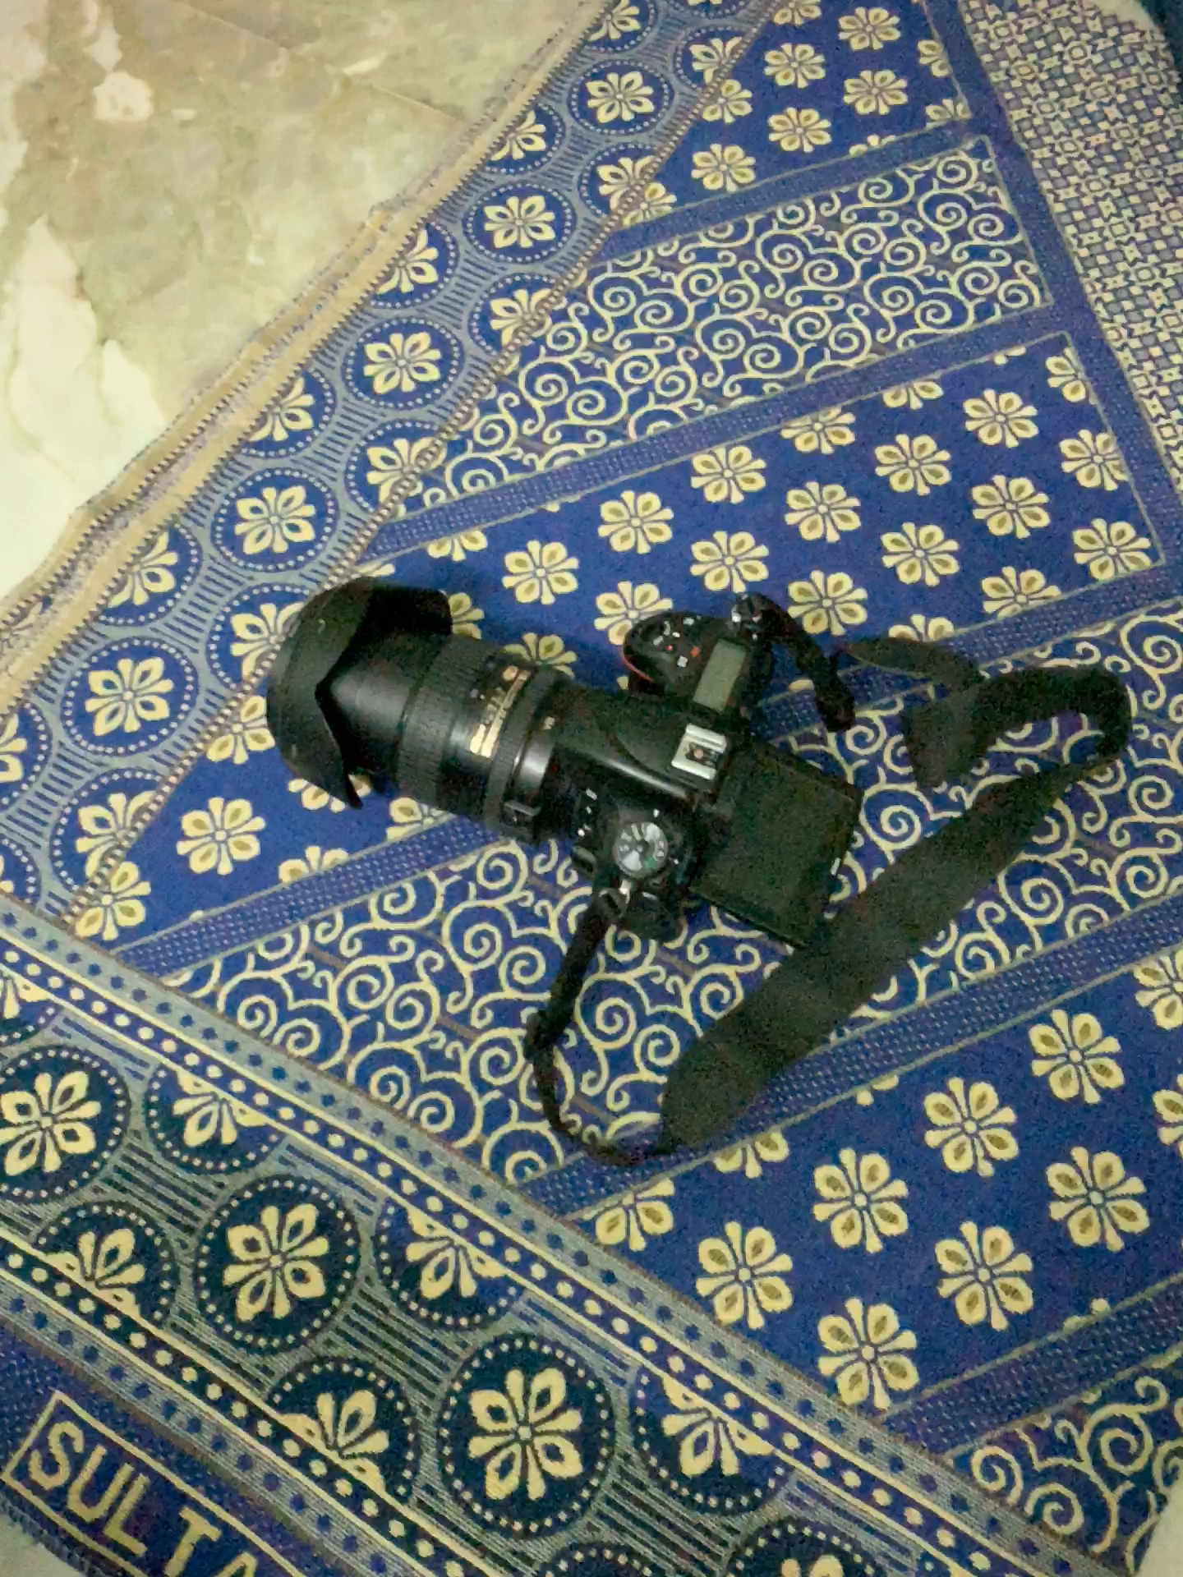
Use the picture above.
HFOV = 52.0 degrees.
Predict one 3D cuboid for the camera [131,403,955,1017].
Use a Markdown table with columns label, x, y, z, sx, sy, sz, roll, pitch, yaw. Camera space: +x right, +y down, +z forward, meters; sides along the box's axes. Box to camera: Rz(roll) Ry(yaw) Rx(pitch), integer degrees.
| label | x | y | z | sx | sy | sz | roll | pitch | yaw |
| --- | --- | --- | --- | --- | --- | --- | --- | --- | --- |
| camera | -0.020 | -0.040 | 0.575 | 0.320 | 0.110 | 0.160 | 21 | 69 | 12 |
